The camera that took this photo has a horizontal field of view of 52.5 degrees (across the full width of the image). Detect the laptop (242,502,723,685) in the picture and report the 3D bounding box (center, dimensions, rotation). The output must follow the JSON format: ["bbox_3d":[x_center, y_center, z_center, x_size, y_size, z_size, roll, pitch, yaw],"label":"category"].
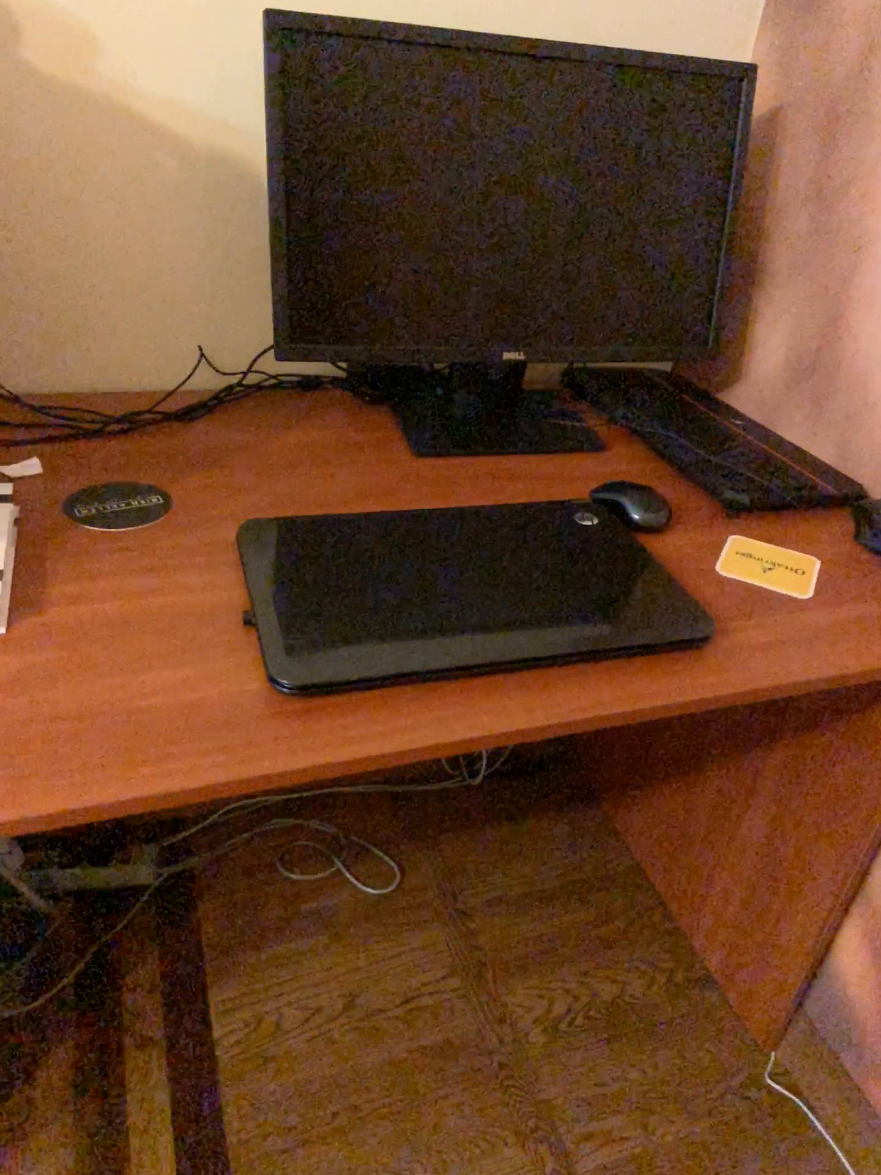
[{"bbox_3d":[0.027,-0.009,0.822,0.382,0.001,0.243,-6,34,-17],"label":"laptop"}]
